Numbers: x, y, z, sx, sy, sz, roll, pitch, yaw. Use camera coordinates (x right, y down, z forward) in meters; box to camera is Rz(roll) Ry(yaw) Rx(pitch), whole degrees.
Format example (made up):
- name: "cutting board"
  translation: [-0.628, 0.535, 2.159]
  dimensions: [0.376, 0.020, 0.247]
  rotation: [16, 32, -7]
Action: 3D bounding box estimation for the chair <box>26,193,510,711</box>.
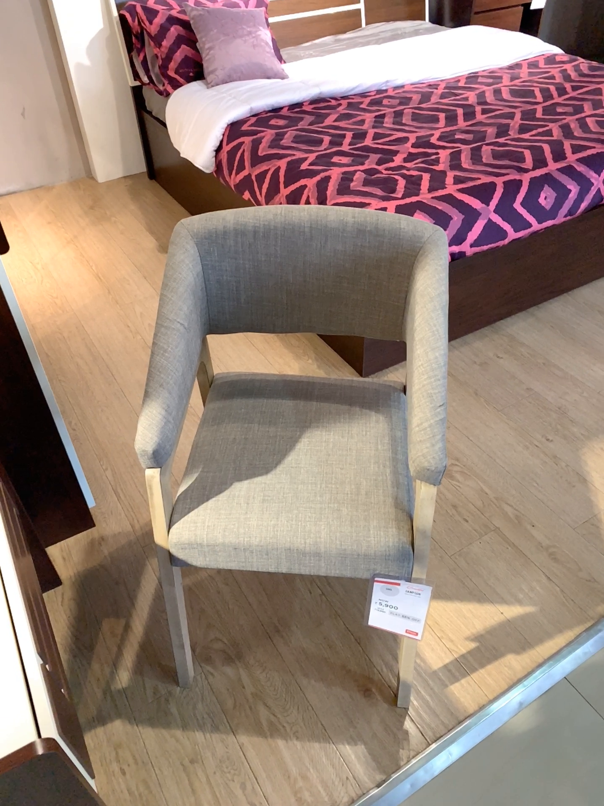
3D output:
- name: "chair"
  translation: [-0.010, 0.106, 1.185]
  dimensions: [0.560, 0.797, 0.582]
  rotation: [2, 42, 5]
